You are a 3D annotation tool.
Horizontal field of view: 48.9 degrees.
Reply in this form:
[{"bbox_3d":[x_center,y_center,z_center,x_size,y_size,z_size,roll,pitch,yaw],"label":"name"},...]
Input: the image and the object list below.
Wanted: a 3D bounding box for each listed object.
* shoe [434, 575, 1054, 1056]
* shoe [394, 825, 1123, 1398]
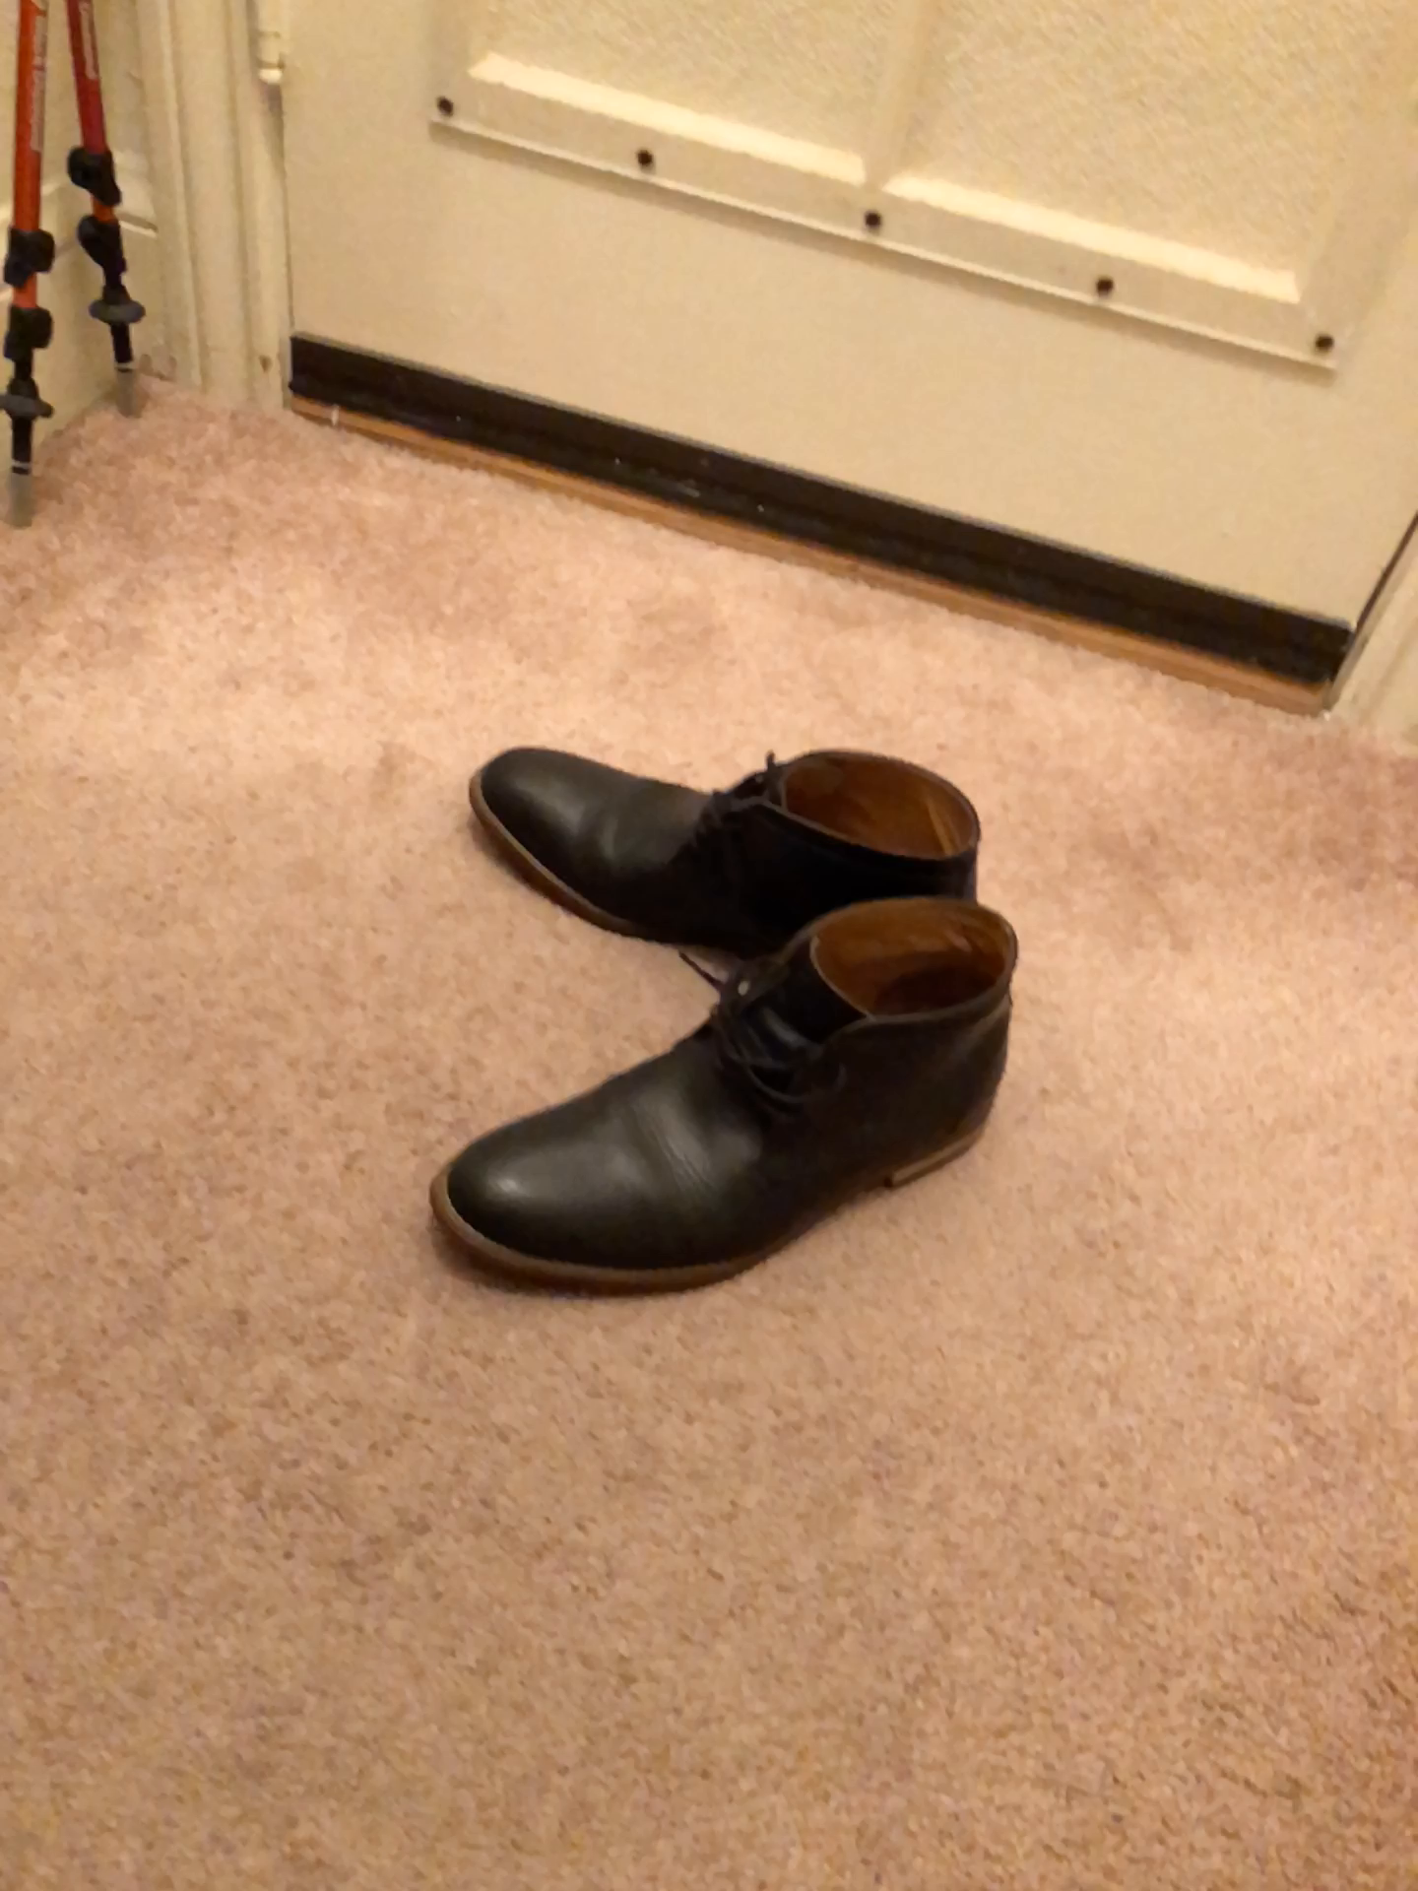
[{"bbox_3d":[0.014,-0.072,0.855,0.302,0.135,0.117,19,46,6],"label":"shoe"},{"bbox_3d":[0.020,0.068,0.721,0.303,0.135,0.116,-18,53,-26],"label":"shoe"}]
